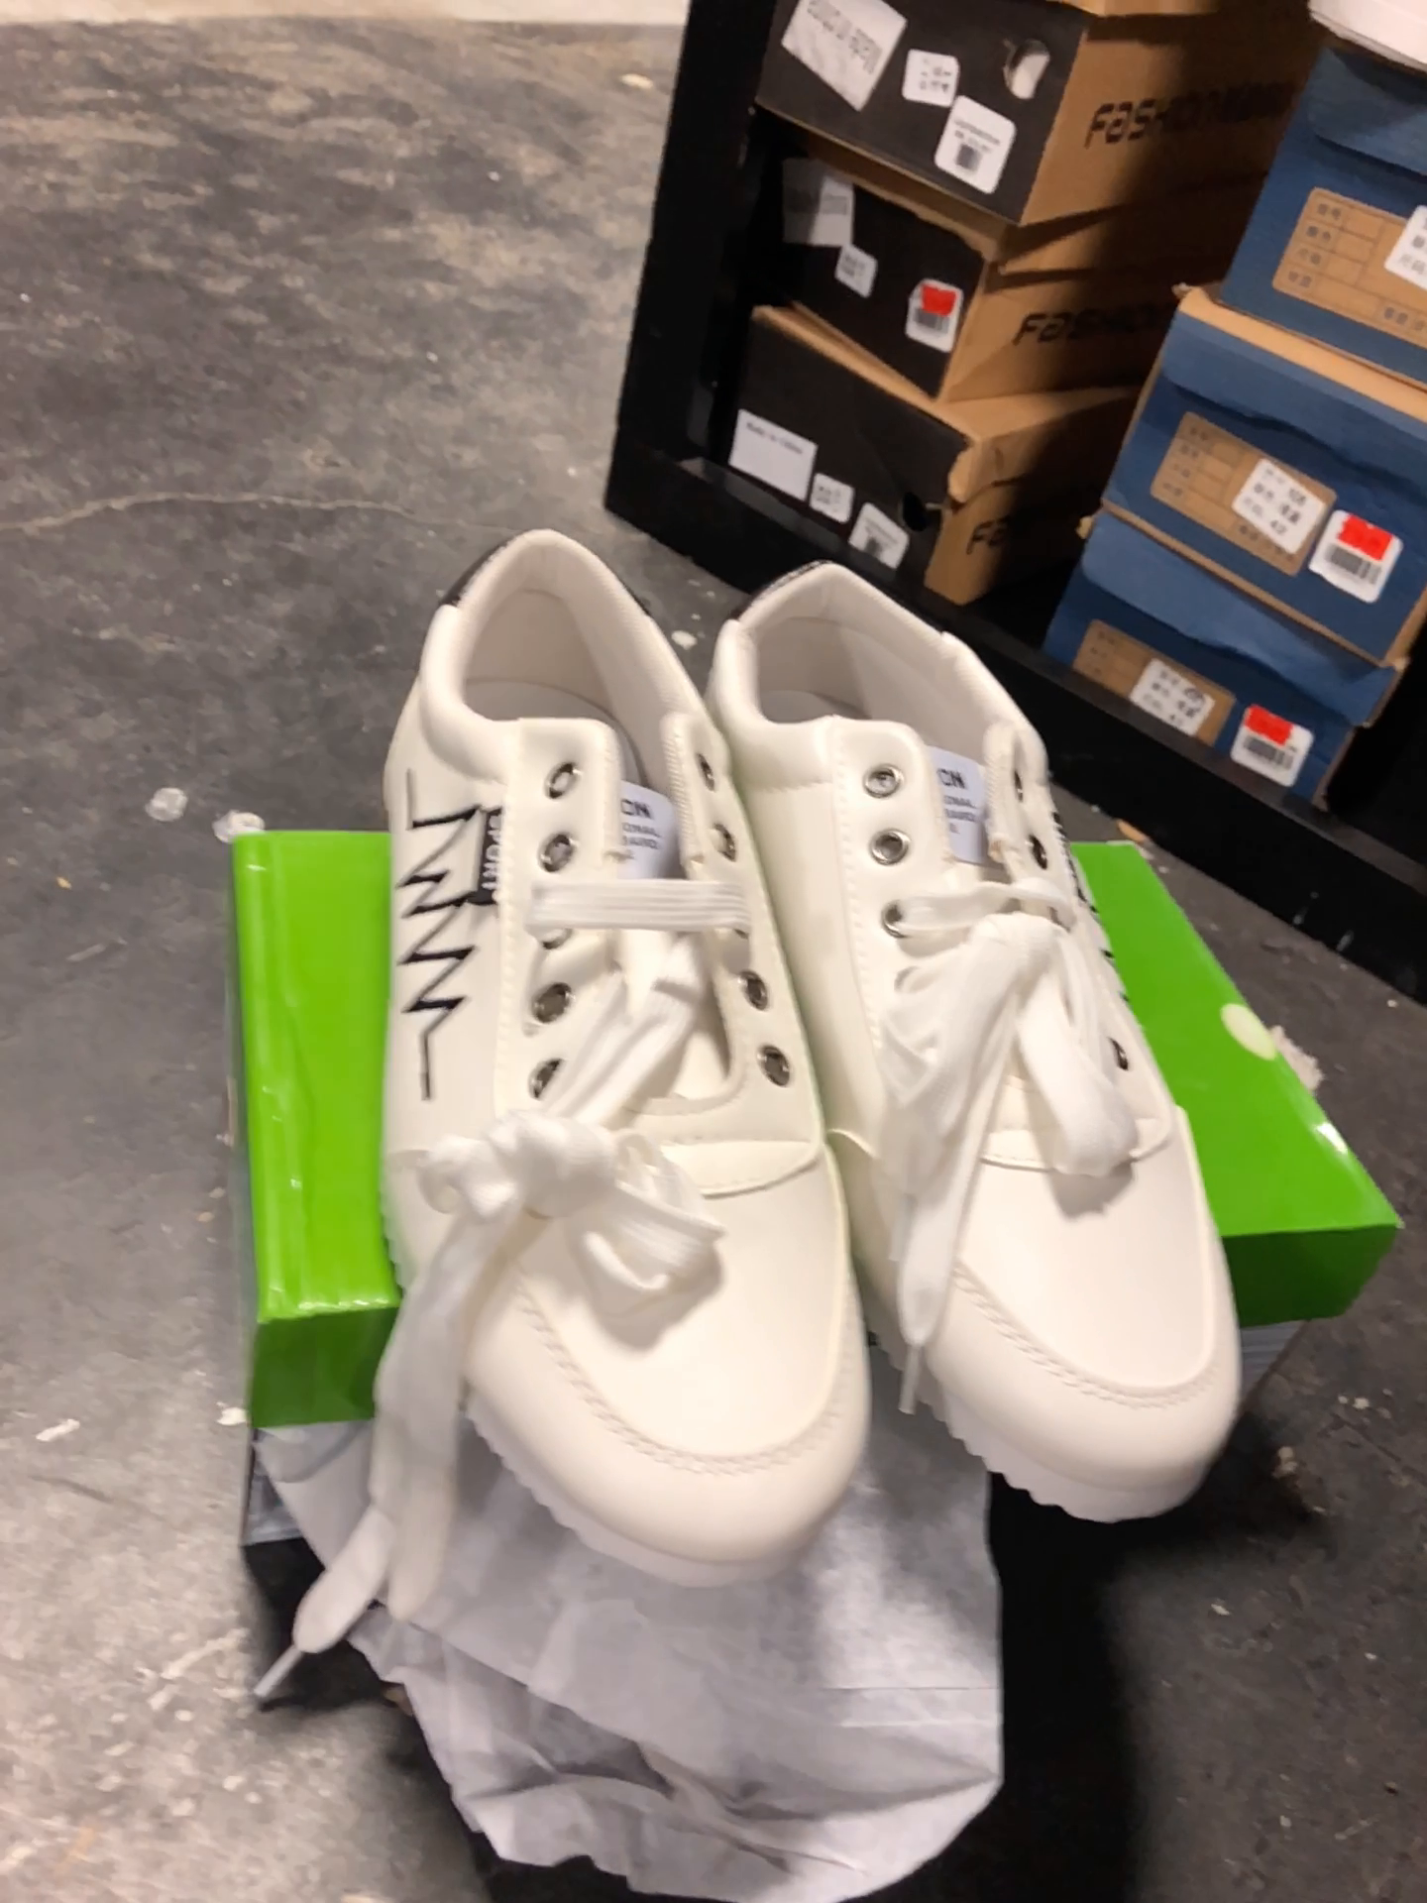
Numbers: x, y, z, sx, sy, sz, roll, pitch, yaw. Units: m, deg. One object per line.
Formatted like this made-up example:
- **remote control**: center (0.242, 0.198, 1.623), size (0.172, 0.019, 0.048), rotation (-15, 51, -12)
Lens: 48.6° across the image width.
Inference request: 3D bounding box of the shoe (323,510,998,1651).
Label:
- **shoe**: center (-0.035, -0.001, 0.369), size (0.090, 0.079, 0.282), rotation (-4, 43, -14)

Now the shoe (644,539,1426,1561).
- **shoe**: center (0.058, -0.002, 0.407), size (0.090, 0.079, 0.282), rotation (-4, 43, -14)
